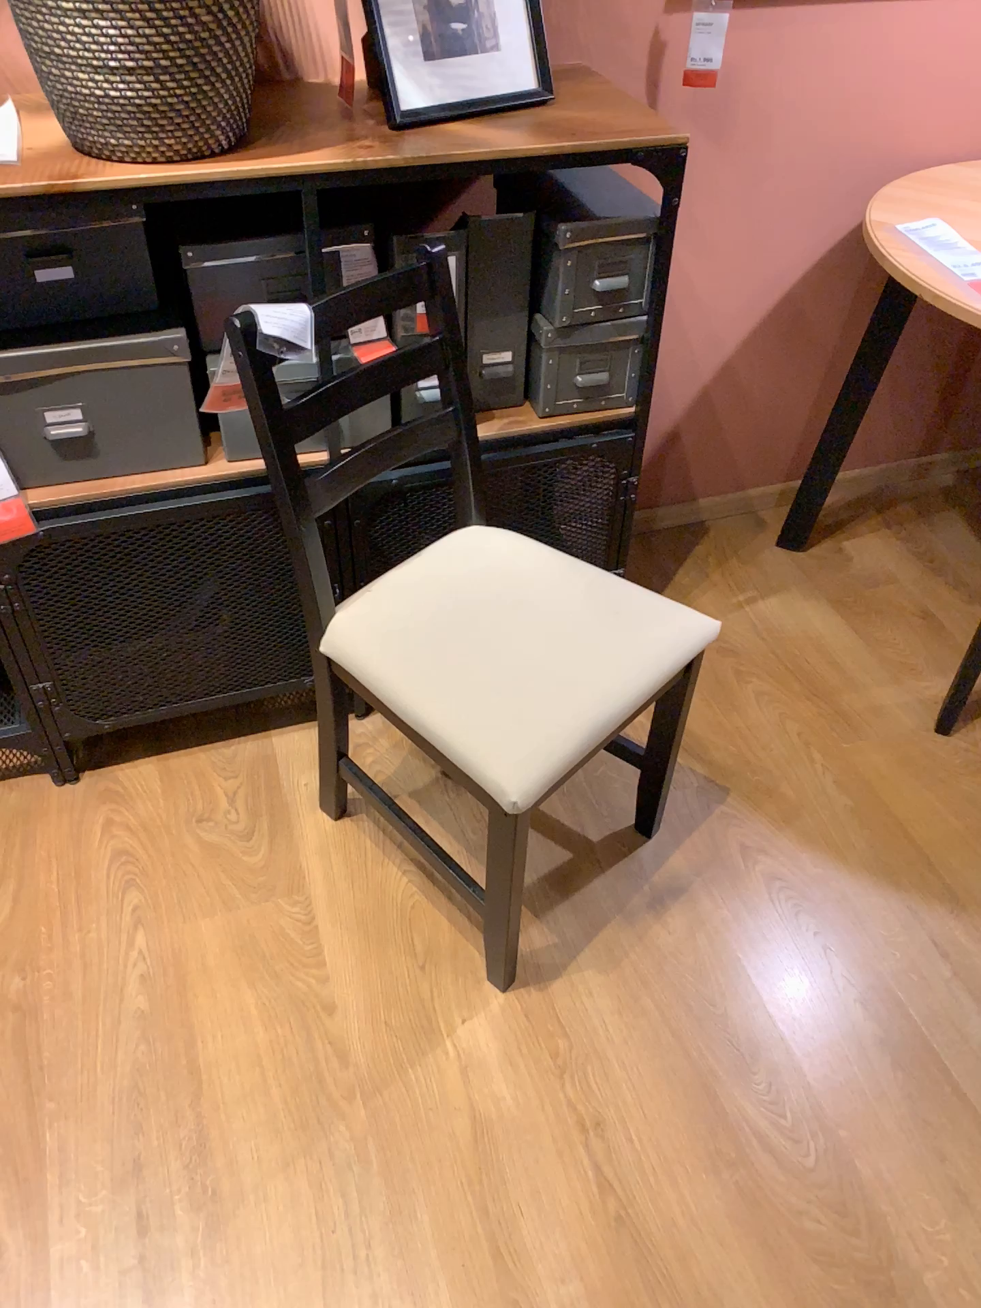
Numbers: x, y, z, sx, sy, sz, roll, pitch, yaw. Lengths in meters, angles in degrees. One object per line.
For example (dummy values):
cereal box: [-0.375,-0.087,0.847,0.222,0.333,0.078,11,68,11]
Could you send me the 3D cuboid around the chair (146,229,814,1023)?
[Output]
chair: [-0.024,-0.029,1.291,0.541,0.767,0.431,32,51,28]
